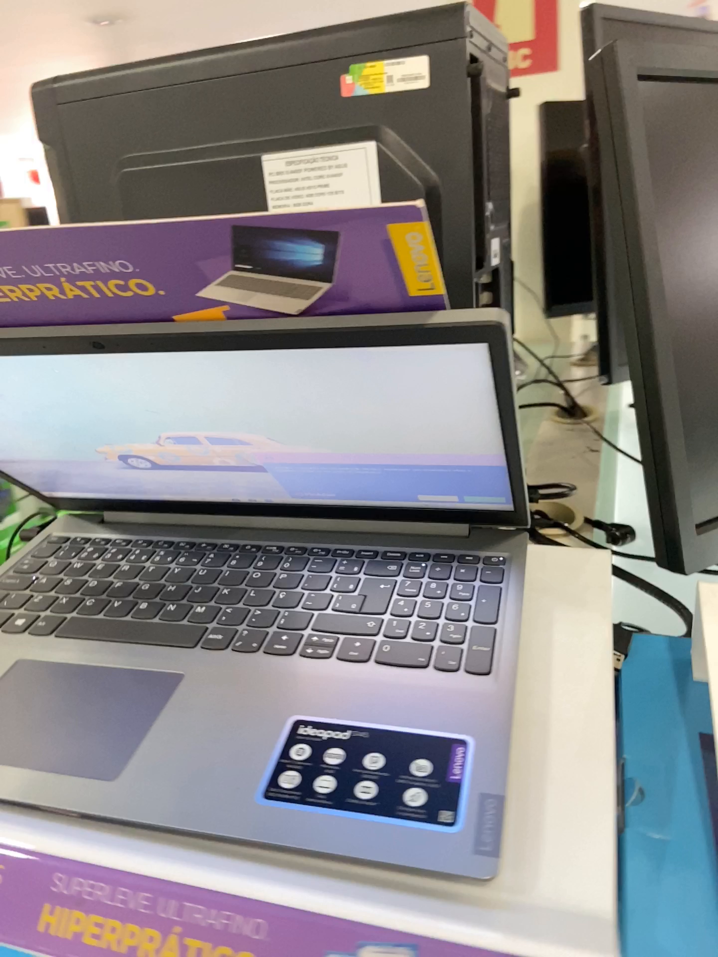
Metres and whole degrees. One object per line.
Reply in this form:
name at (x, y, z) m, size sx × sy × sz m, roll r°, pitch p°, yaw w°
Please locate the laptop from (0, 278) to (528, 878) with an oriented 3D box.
laptop at (-0.098, 0.011, 0.403) m, size 0.356 × 0.161 × 0.245 m, roll 1°, pitch 25°, yaw 16°
